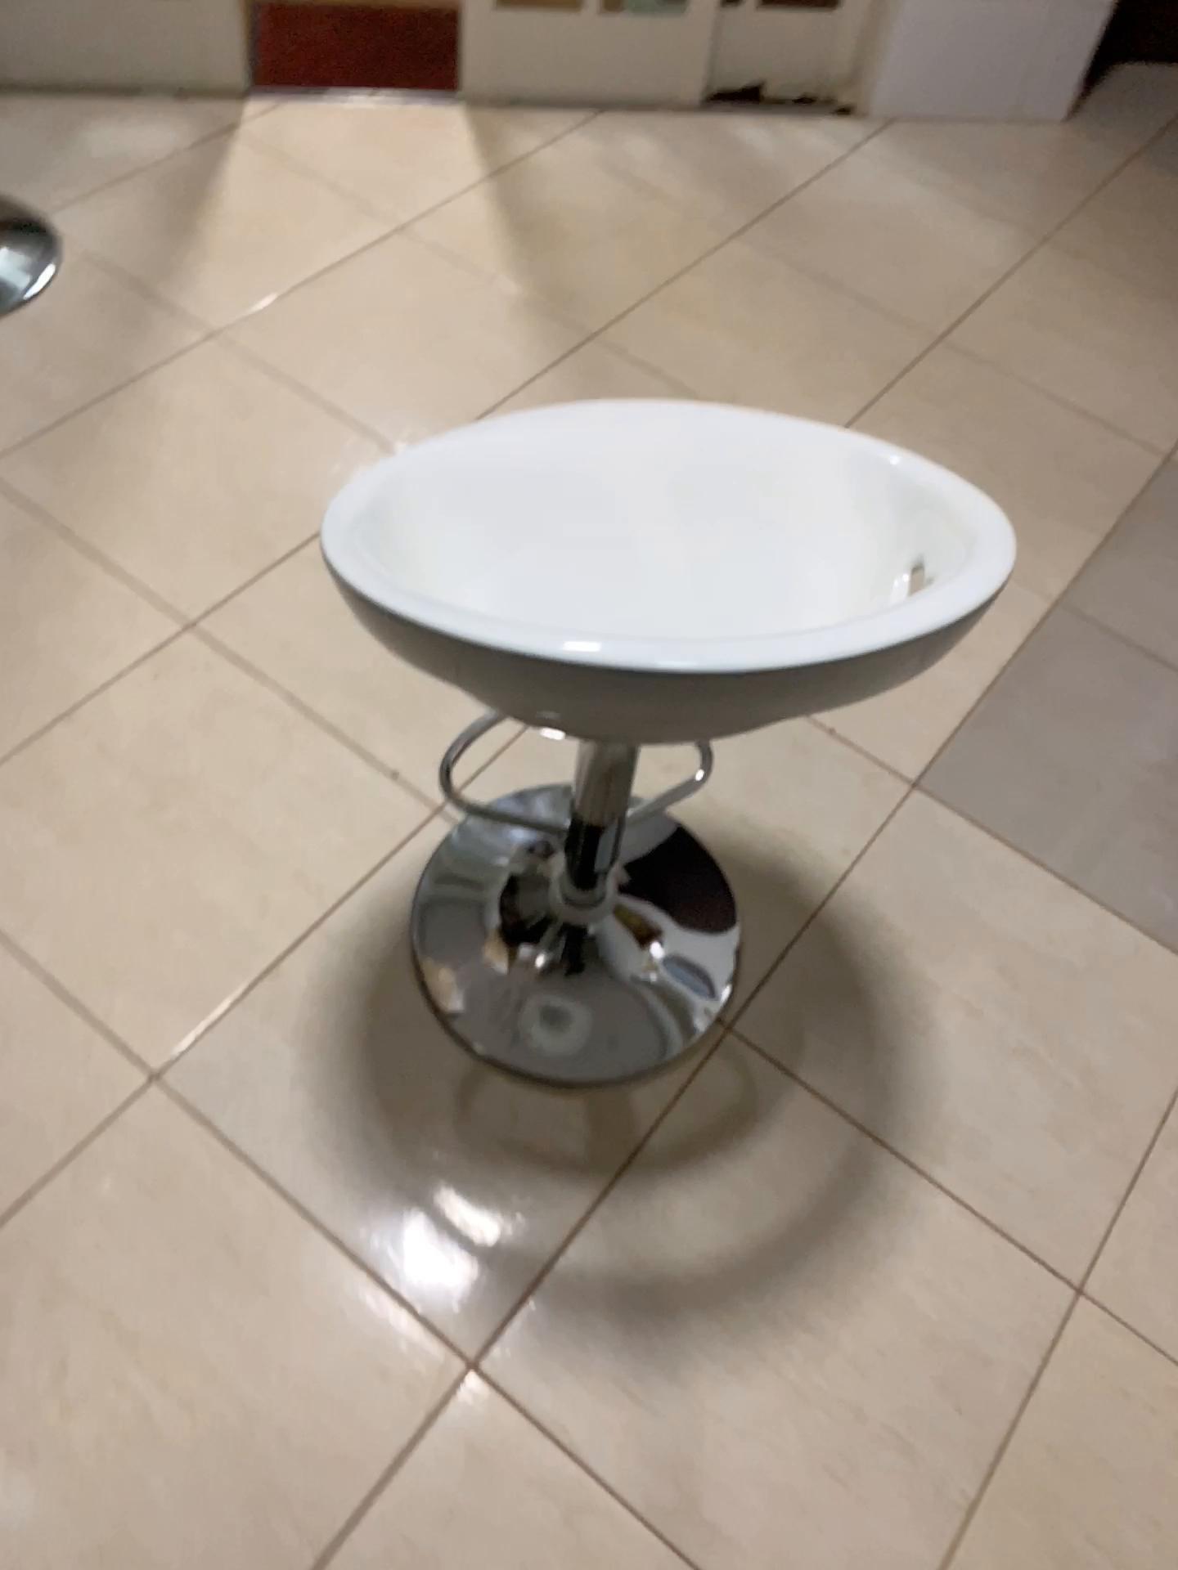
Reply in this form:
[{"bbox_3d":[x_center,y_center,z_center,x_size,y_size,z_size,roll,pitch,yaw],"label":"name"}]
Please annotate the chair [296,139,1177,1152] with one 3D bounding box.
[{"bbox_3d":[0.034,-0.049,1.027,0.470,0.734,0.453,-2,56,-9],"label":"chair"}]
